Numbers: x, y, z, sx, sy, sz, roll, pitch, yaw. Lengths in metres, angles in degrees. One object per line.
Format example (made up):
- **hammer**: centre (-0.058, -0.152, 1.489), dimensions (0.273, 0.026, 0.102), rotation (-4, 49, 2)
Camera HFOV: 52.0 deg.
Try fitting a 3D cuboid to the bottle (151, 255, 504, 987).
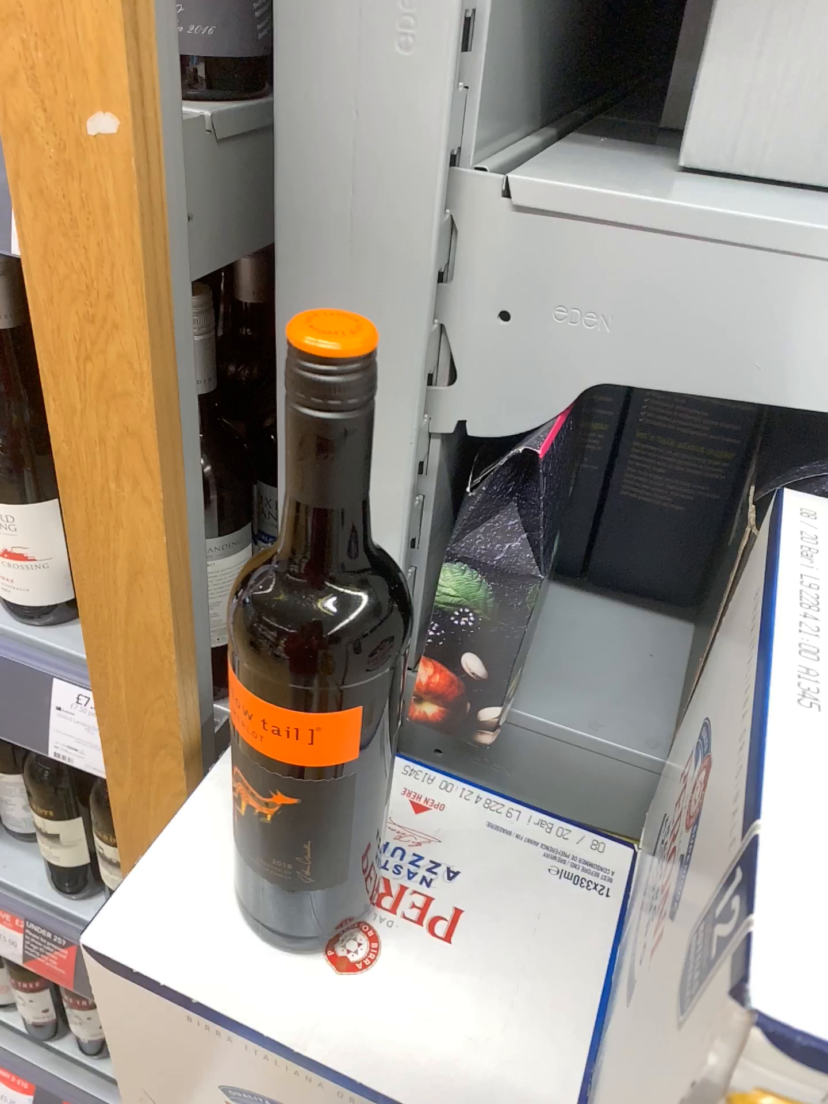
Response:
- **bottle**: centre (-0.039, 0.046, 0.347), dimensions (0.076, 0.297, 0.078), rotation (4, 35, -3)
